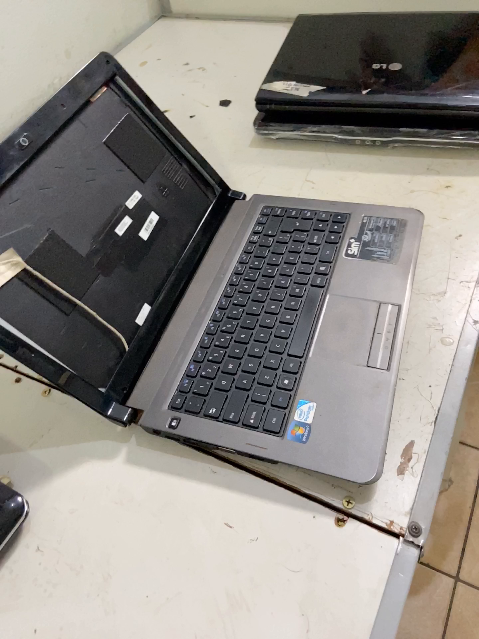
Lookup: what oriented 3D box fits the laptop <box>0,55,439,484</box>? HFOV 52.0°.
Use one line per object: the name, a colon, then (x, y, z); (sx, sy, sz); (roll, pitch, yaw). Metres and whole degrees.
laptop: (-0.029, -0.088, 0.474); (0.365, 0.174, 0.344); (10, 52, 19)
